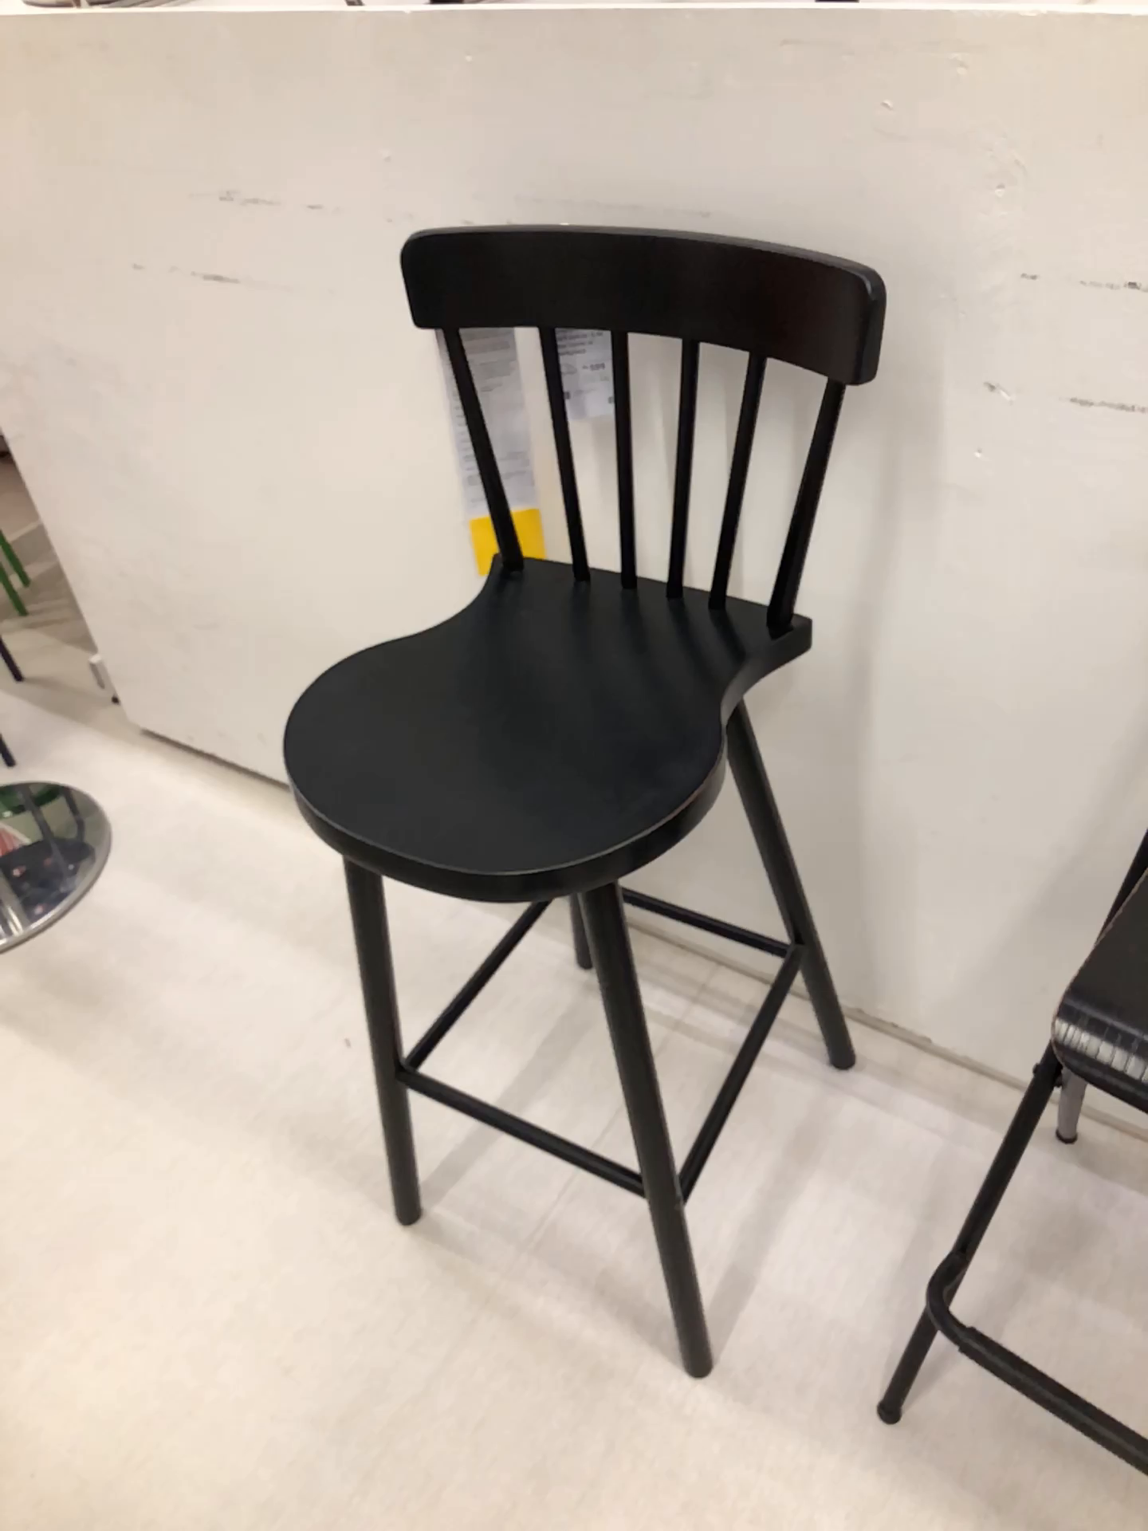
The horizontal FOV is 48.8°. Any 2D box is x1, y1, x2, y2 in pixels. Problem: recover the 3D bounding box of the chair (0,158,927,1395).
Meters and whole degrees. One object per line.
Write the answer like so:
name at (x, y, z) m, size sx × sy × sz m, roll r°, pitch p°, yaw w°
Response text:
chair at (-0.025, 0.023, 1.095) m, size 0.461 × 0.874 × 0.482 m, roll 16°, pitch 46°, yaw 27°
